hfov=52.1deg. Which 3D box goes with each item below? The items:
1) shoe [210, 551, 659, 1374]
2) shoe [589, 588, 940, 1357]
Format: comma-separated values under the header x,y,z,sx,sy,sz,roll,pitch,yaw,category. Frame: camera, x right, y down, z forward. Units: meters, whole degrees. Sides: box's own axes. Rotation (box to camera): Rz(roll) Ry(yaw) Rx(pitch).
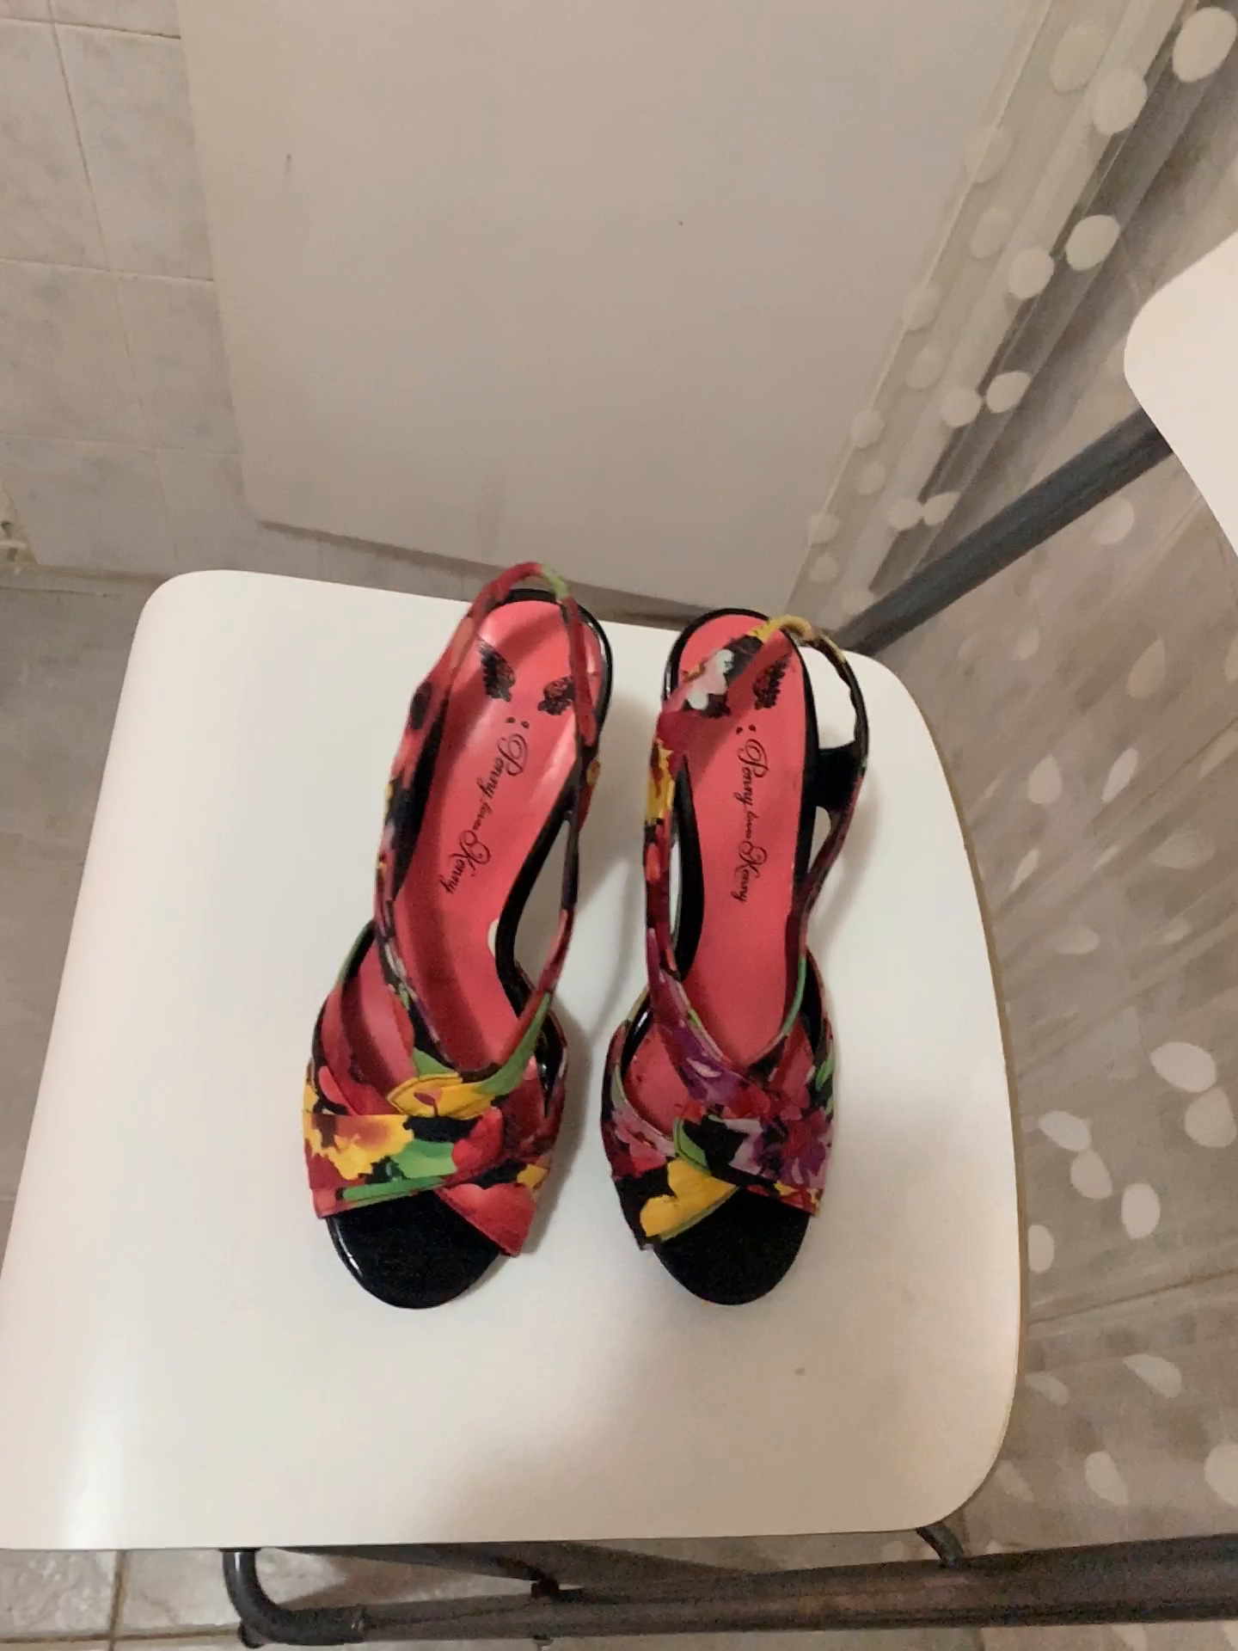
x,y,z,sx,sy,sz,roll,pitch,yaw,category
-0.048,0.037,0.366,0.082,0.074,0.205,10,76,-5,shoe
0.038,0.043,0.385,0.080,0.086,0.205,3,77,-9,shoe
